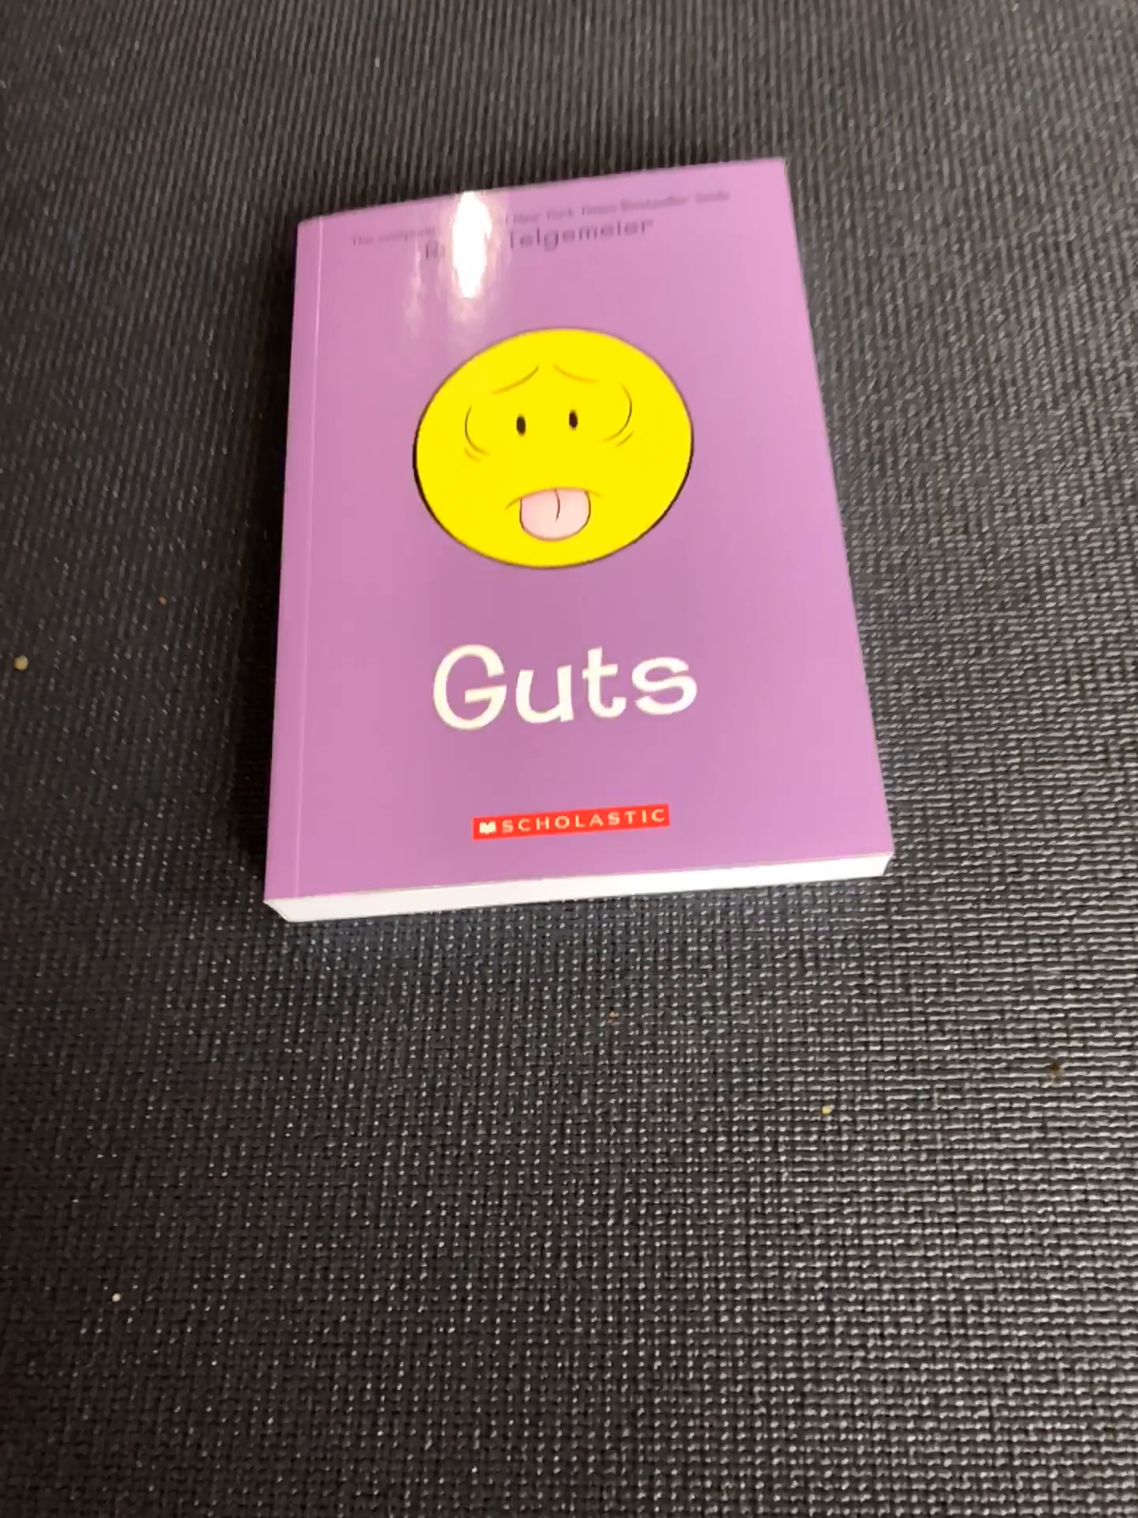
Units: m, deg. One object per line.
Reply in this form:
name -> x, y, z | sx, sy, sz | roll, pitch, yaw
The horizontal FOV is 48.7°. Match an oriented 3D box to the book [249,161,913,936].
book -> -0.003, -0.061, 0.321 | 0.143, 0.024, 0.202 | -5, 66, 4
